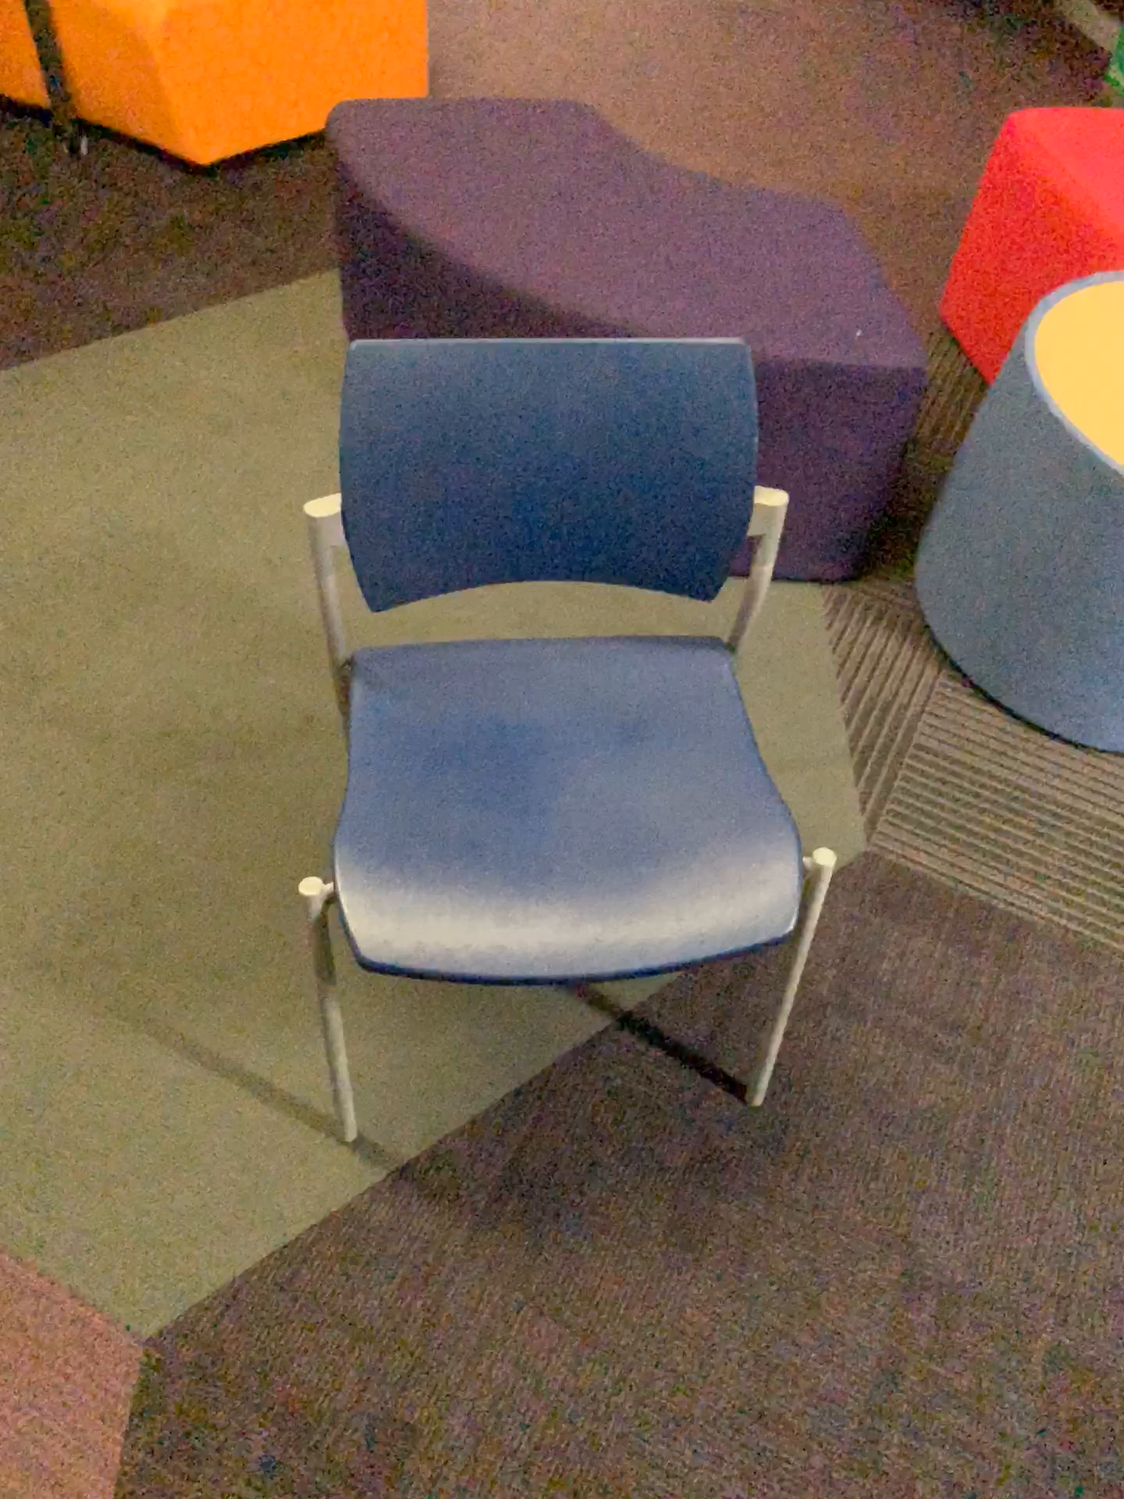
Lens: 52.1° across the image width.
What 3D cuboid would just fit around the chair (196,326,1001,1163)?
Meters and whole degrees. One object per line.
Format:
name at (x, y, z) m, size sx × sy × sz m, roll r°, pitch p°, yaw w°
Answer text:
chair at (-0.012, 0.019, 1.241) m, size 0.560 × 0.694 × 0.575 m, roll -2°, pitch 52°, yaw -6°
